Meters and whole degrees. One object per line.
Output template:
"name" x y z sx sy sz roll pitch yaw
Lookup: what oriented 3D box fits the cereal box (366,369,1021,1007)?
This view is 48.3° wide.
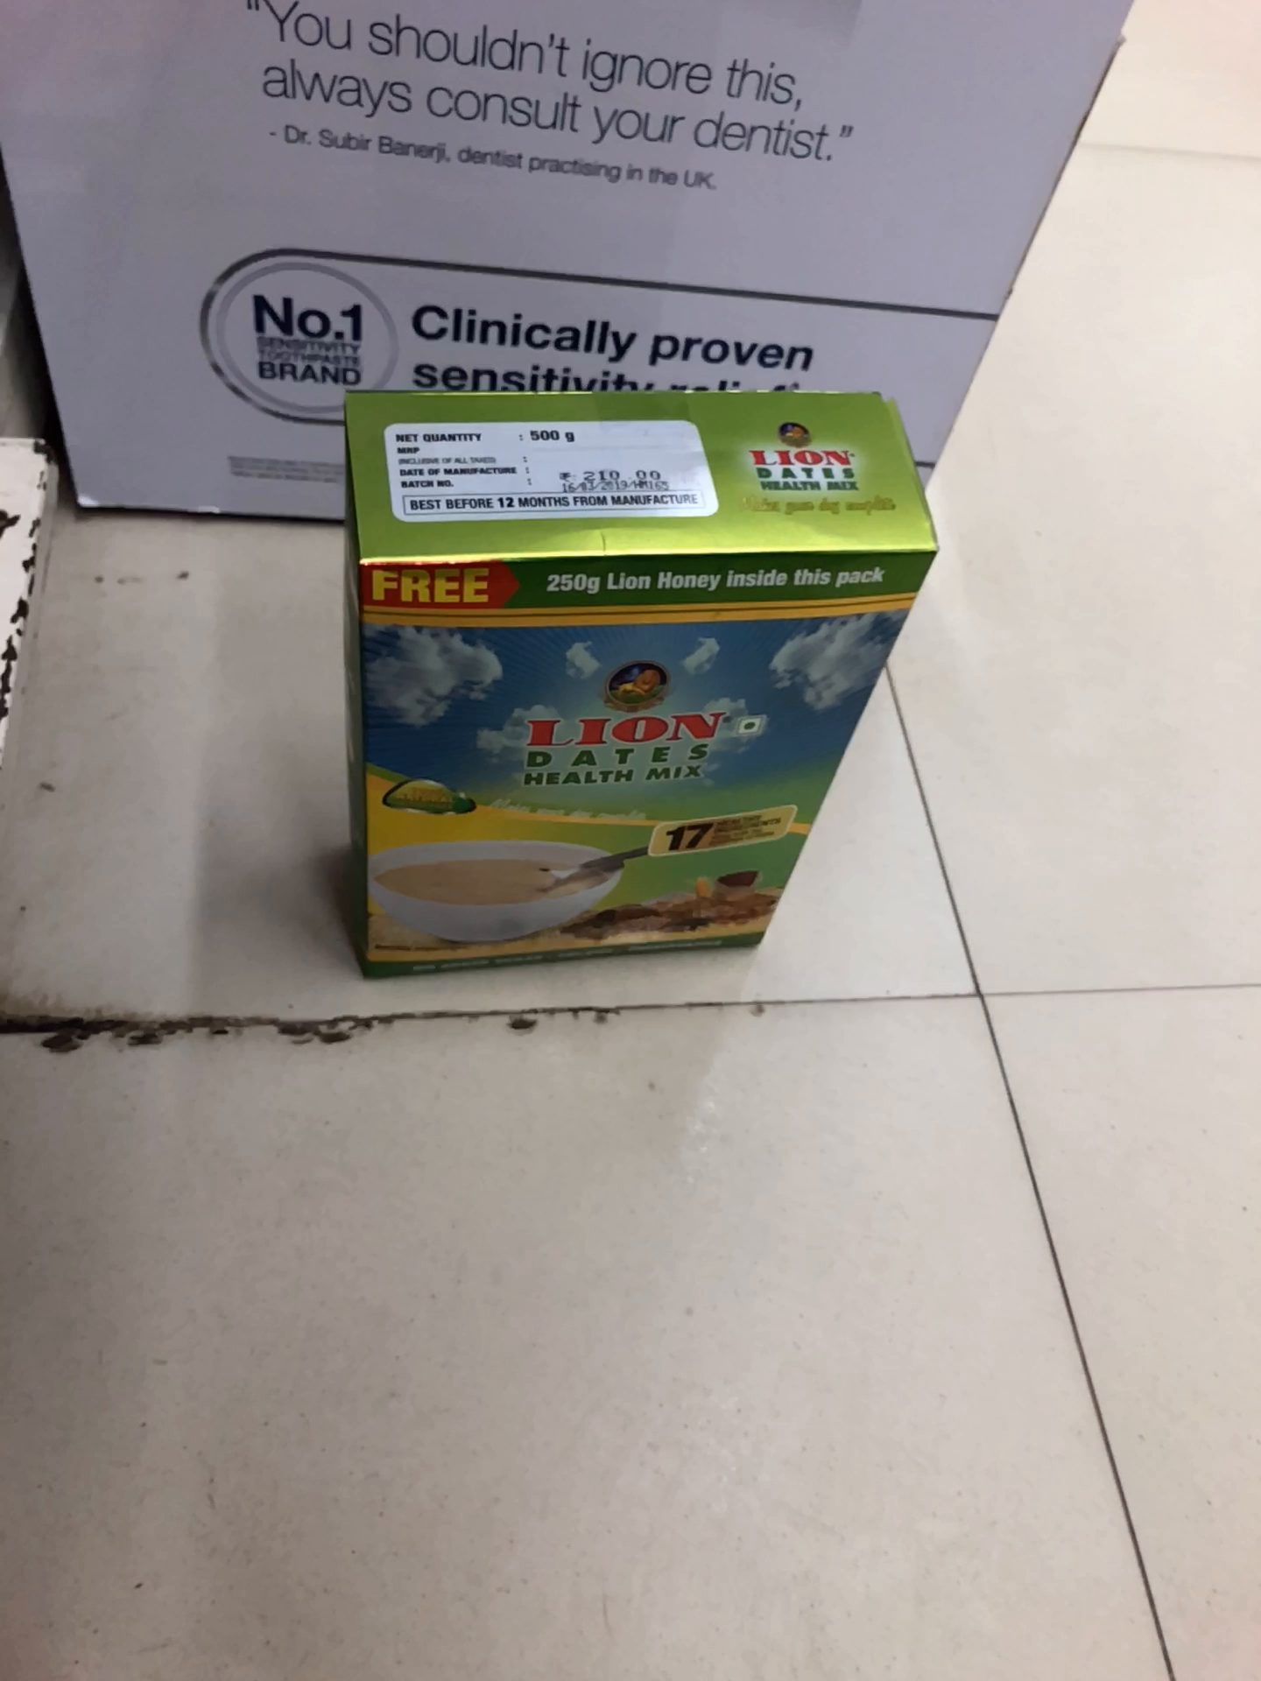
"cereal box" 0.001 -0.033 0.391 0.140 0.179 0.070 -3 56 -12
